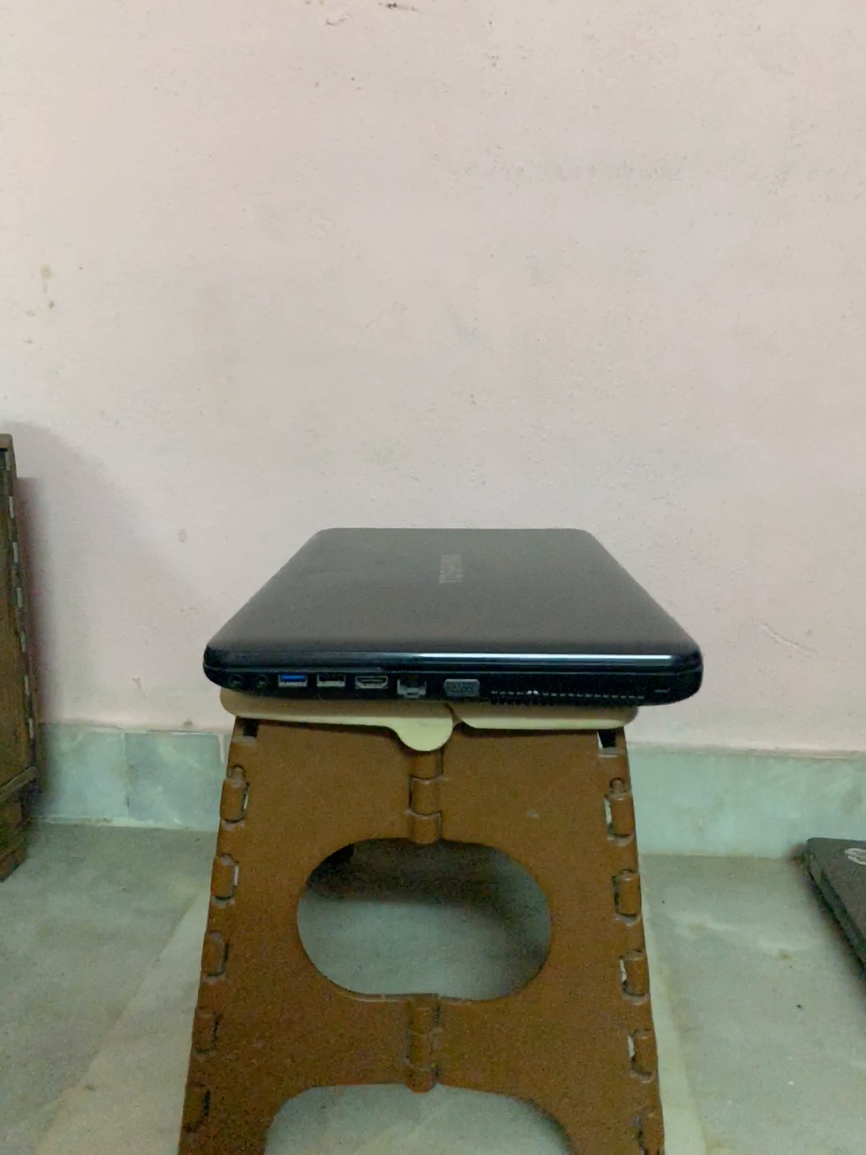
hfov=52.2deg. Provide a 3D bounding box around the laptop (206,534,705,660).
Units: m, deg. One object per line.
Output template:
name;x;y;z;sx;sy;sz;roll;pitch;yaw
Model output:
laptop;0.013;0.000;0.599;0.236;0.001;0.369;1;12;1
